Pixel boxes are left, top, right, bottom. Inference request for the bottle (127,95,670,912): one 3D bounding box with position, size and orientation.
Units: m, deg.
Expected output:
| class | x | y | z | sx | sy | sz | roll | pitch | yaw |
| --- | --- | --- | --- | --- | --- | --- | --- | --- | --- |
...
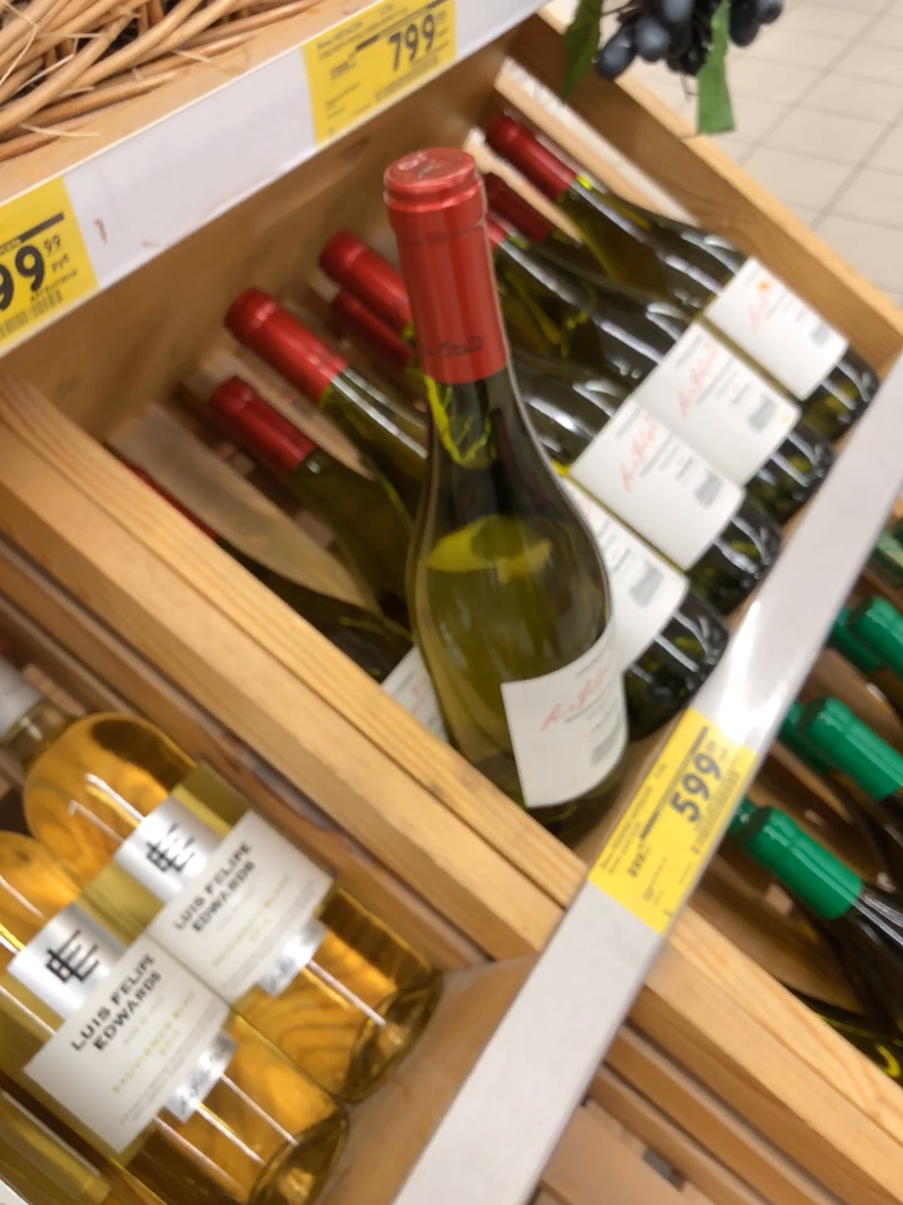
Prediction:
| class | x | y | z | sx | sy | sz | roll | pitch | yaw |
| --- | --- | --- | --- | --- | --- | --- | --- | --- | --- |
| bottle | 0.004 | -0.022 | 0.388 | 0.100 | 0.289 | 0.100 | -10 | 40 | 8 |
